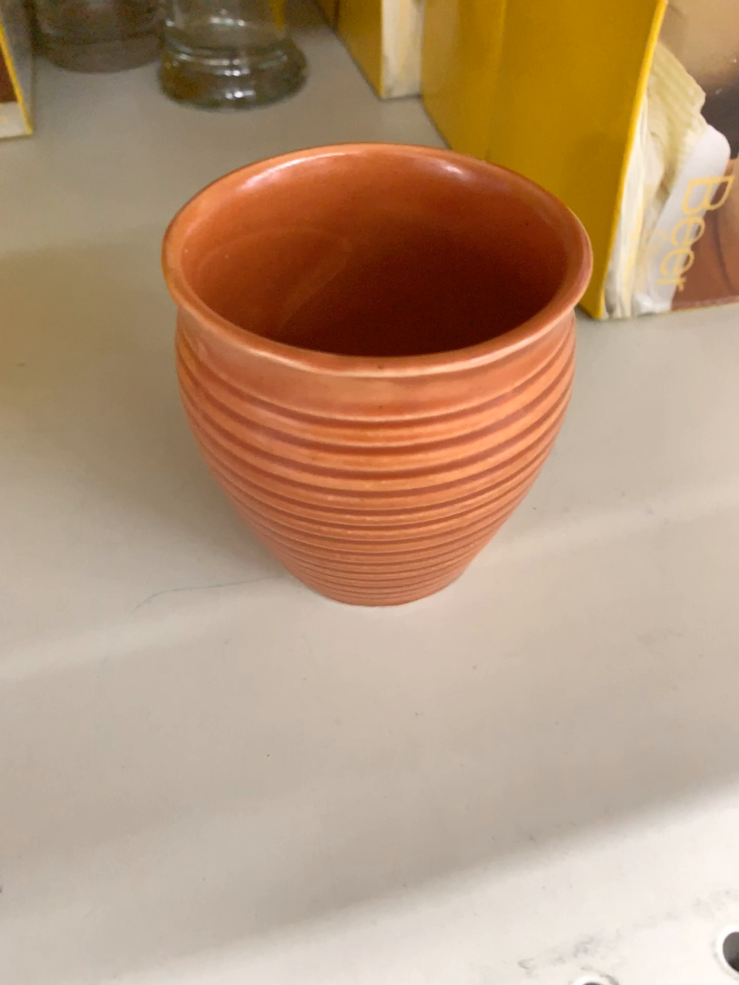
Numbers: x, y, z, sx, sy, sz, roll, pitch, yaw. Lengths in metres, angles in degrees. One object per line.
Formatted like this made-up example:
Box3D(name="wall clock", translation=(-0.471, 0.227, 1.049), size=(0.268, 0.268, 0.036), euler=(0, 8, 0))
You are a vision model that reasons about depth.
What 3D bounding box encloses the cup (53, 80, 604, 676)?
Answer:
Box3D(name="cup", translation=(-0.002, -0.020, 0.137), size=(0.060, 0.070, 0.060), euler=(1, 48, -1))
